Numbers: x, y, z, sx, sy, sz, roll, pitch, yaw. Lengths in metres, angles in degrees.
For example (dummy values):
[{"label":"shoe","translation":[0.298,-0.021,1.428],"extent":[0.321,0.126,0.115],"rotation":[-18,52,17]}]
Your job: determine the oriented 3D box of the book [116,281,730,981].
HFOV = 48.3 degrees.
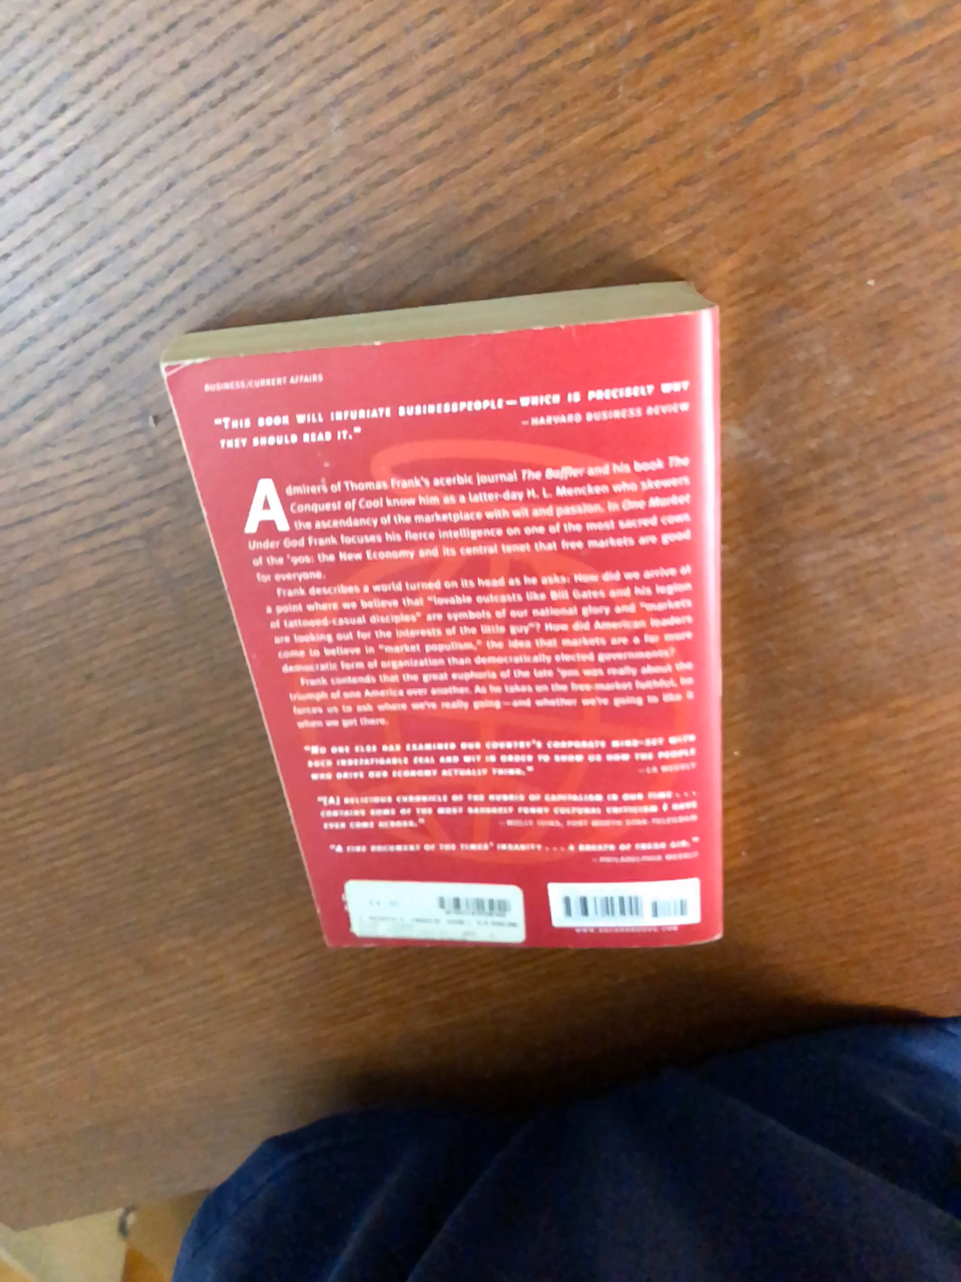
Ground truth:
[{"label":"book","translation":[-0.001,0.015,0.308],"extent":[0.140,0.030,0.211],"rotation":[-3,122,9]}]
